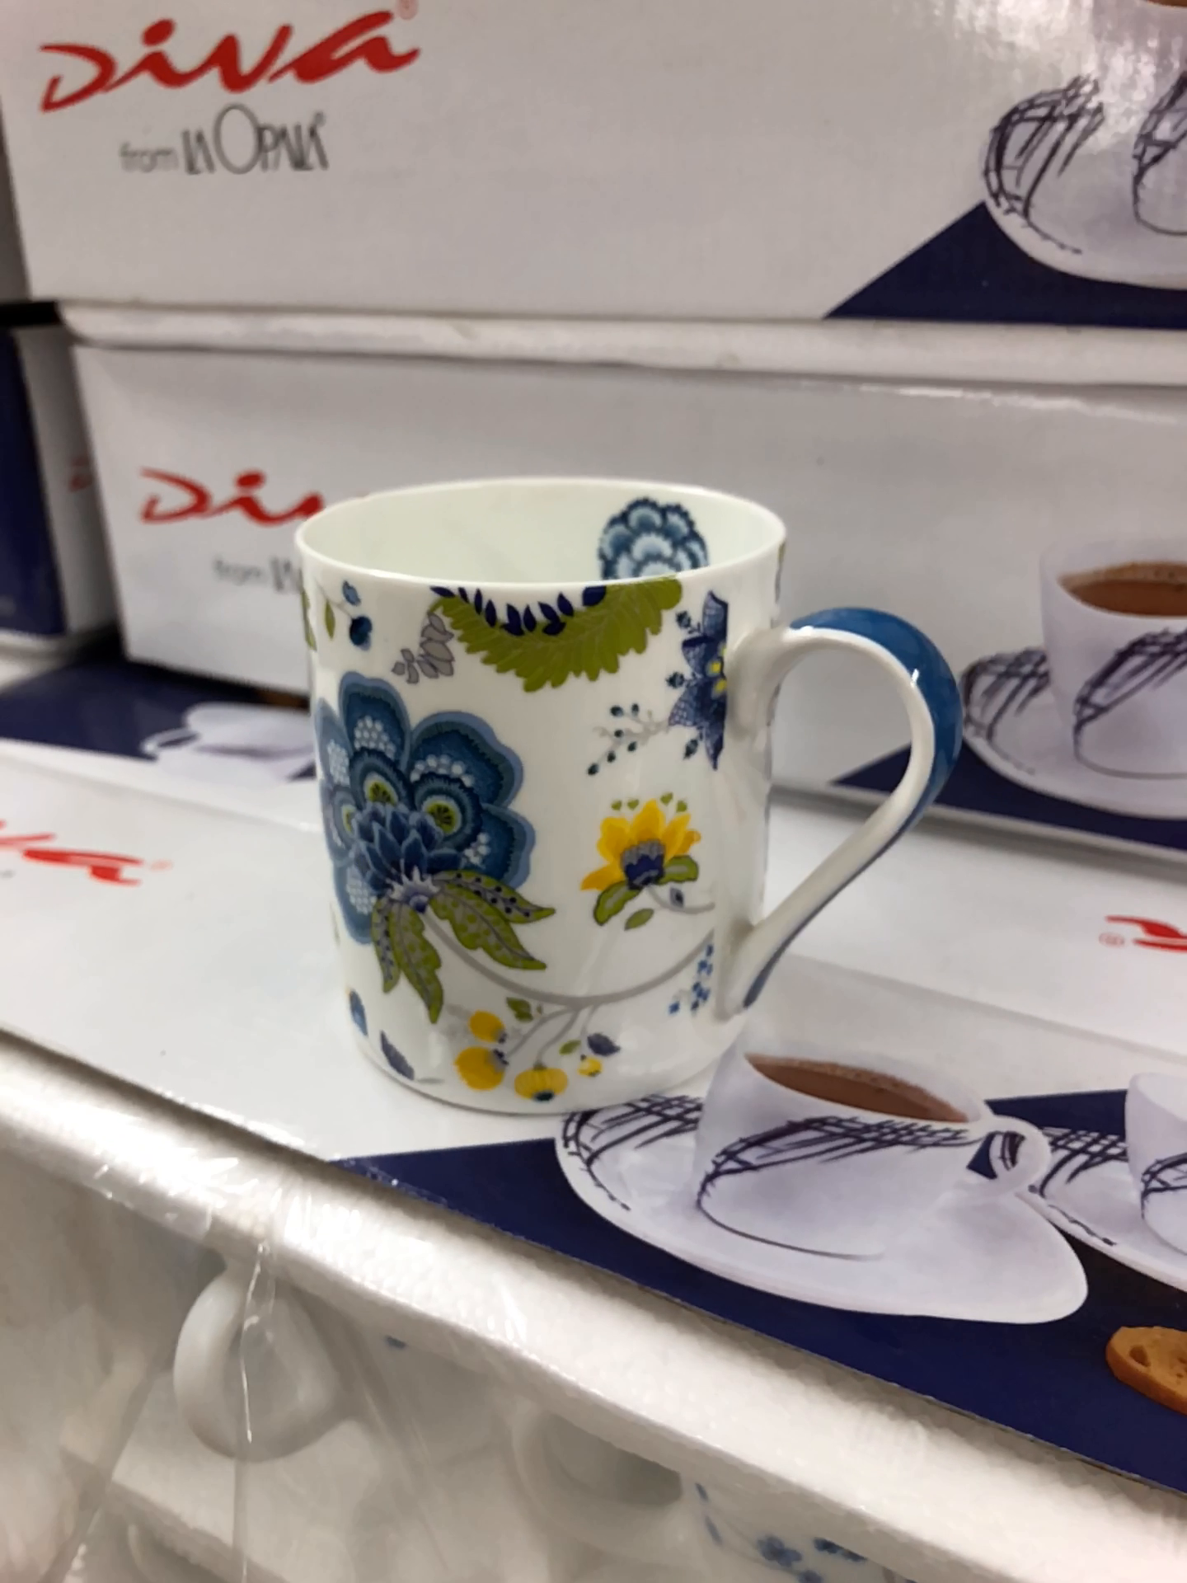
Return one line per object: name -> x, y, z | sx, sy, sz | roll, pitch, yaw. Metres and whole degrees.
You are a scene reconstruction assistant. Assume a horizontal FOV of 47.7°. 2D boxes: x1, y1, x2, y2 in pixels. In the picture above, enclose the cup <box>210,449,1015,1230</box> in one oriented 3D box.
cup -> 0.007, -0.001, 0.217 | 0.100, 0.089, 0.070 | 9, 26, 21
